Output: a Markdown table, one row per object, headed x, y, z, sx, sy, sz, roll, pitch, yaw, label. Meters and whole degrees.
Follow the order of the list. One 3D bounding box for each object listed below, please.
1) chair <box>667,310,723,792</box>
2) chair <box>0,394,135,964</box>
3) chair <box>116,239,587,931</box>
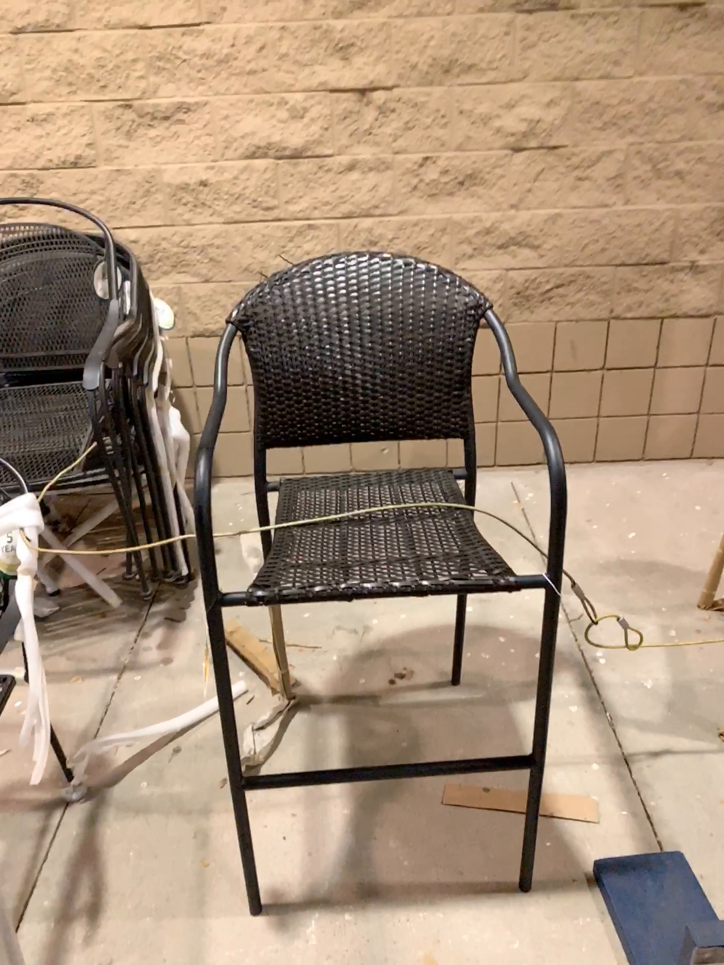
| x | y | z | sx | sy | sz | roll | pitch | yaw | label |
| --- | --- | --- | --- | --- | --- | --- | --- | --- | --- |
| 1.097 | 0.108 | 1.668 | 0.567 | 0.833 | 0.630 | 3 | 28 | 11 | chair |
| -0.791 | 0.375 | 1.219 | 0.577 | 0.833 | 0.610 | -5 | 27 | -5 | chair |
| -0.006 | 0.179 | 1.394 | 0.557 | 1.101 | 0.610 | -4 | 27 | -2 | chair |
